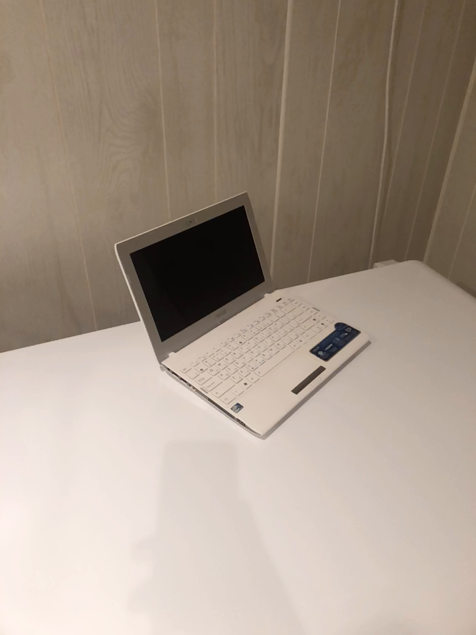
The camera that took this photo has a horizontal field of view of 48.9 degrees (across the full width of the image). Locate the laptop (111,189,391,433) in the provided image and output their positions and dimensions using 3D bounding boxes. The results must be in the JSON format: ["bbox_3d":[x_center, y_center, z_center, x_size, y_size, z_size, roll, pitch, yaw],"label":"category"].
[{"bbox_3d":[0.022,-0.036,0.817,0.292,0.168,0.289,29,43,31],"label":"laptop"}]
